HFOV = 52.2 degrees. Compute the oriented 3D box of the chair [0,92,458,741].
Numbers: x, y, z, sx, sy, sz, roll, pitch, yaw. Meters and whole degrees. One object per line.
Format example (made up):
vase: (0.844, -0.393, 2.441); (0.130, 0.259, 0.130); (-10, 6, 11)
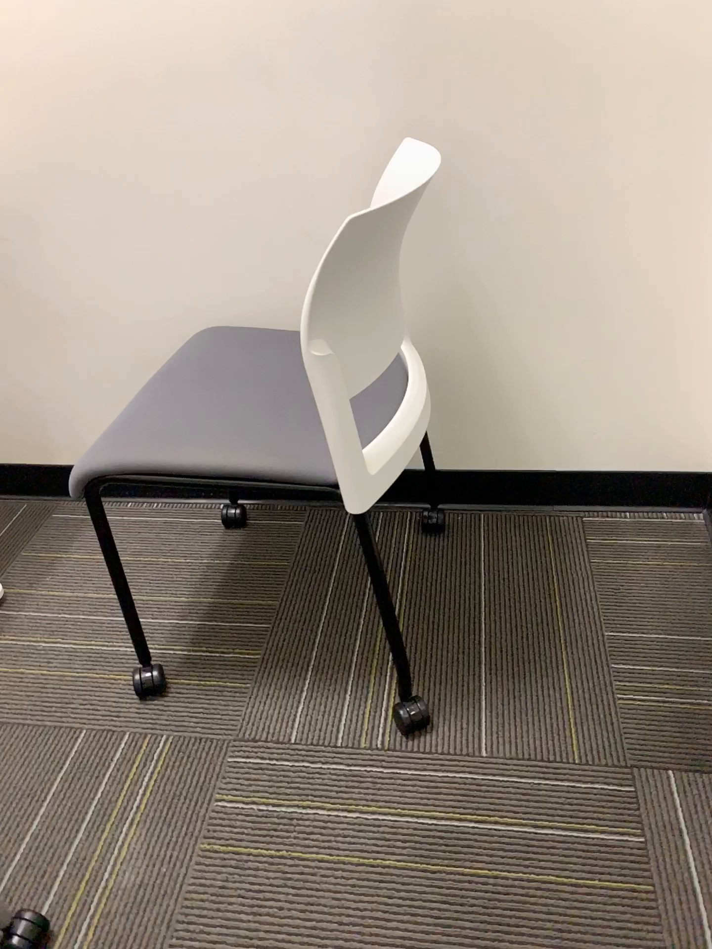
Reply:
chair: (-0.124, -0.111, 1.171); (0.540, 0.805, 0.603); (2, 34, 10)
